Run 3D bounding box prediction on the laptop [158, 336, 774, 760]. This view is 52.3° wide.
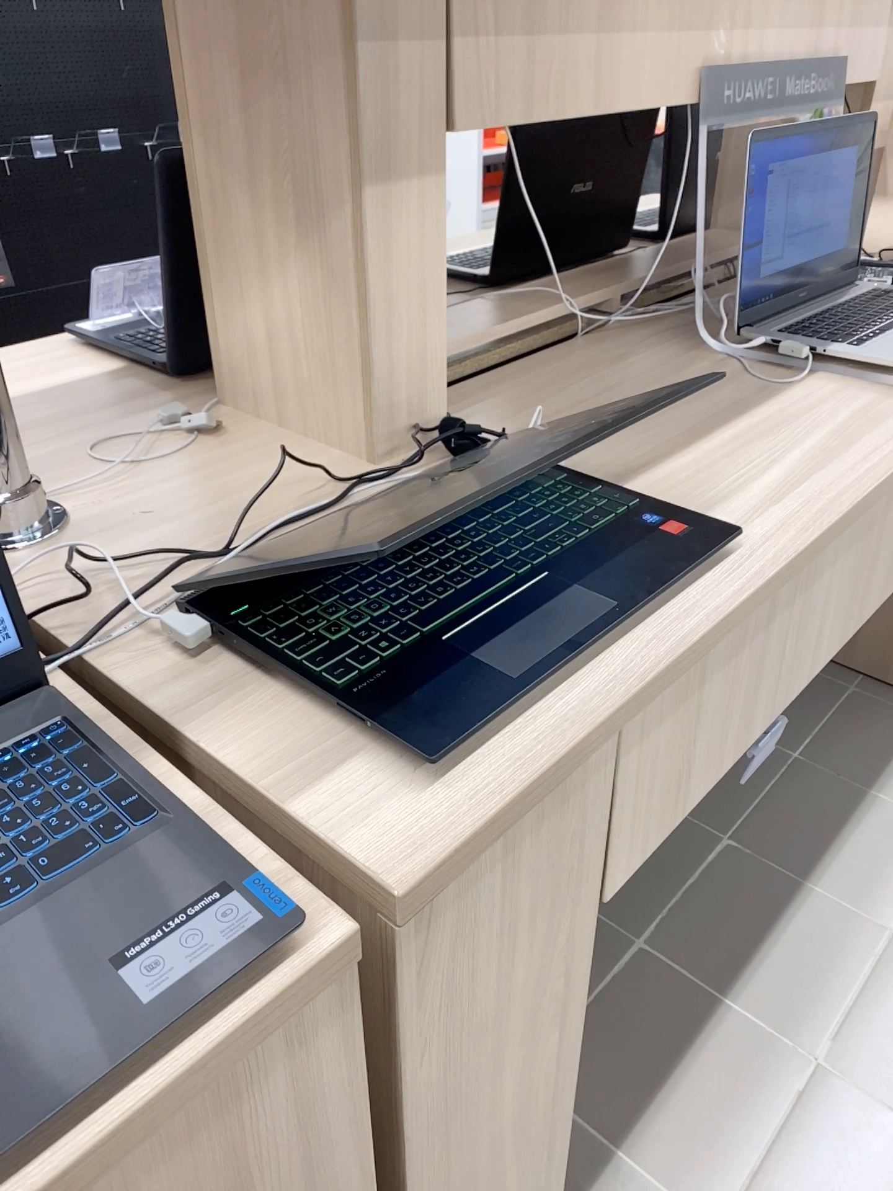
[{"bbox_3d":[0.030,-0.070,0.646,0.235,0.108,0.365,26,39,35],"label":"laptop"}]
